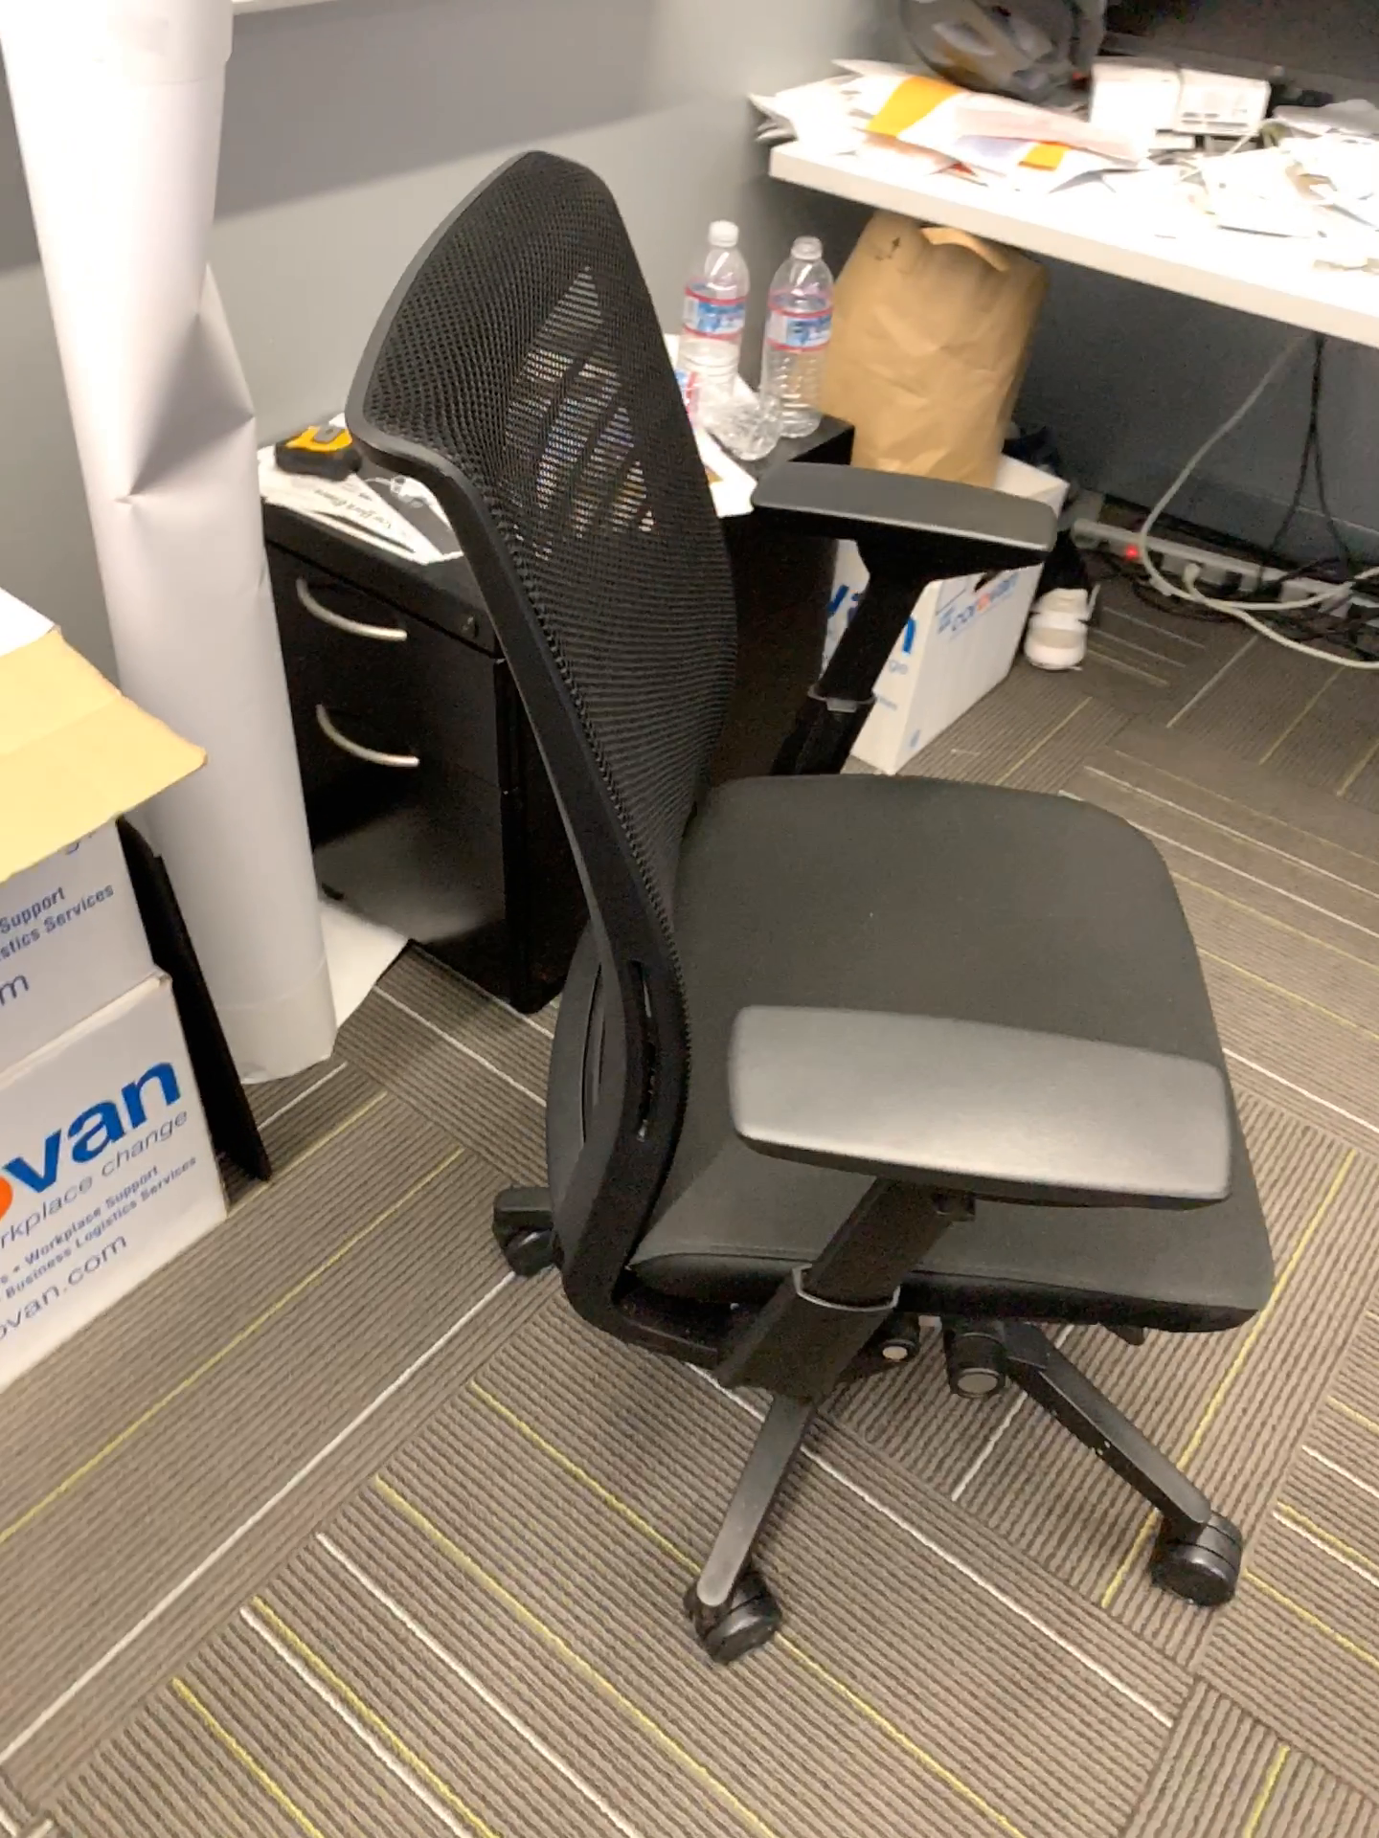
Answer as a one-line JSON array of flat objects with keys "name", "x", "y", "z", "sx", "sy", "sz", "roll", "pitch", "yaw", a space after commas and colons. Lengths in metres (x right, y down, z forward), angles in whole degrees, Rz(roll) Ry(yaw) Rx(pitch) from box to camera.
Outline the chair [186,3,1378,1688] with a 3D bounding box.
[{"name": "chair", "x": 0.172, "y": -0.008, "z": 0.972, "sx": 0.680, "sy": 0.915, "sz": 0.664, "roll": 3, "pitch": 42, "yaw": -2}]
